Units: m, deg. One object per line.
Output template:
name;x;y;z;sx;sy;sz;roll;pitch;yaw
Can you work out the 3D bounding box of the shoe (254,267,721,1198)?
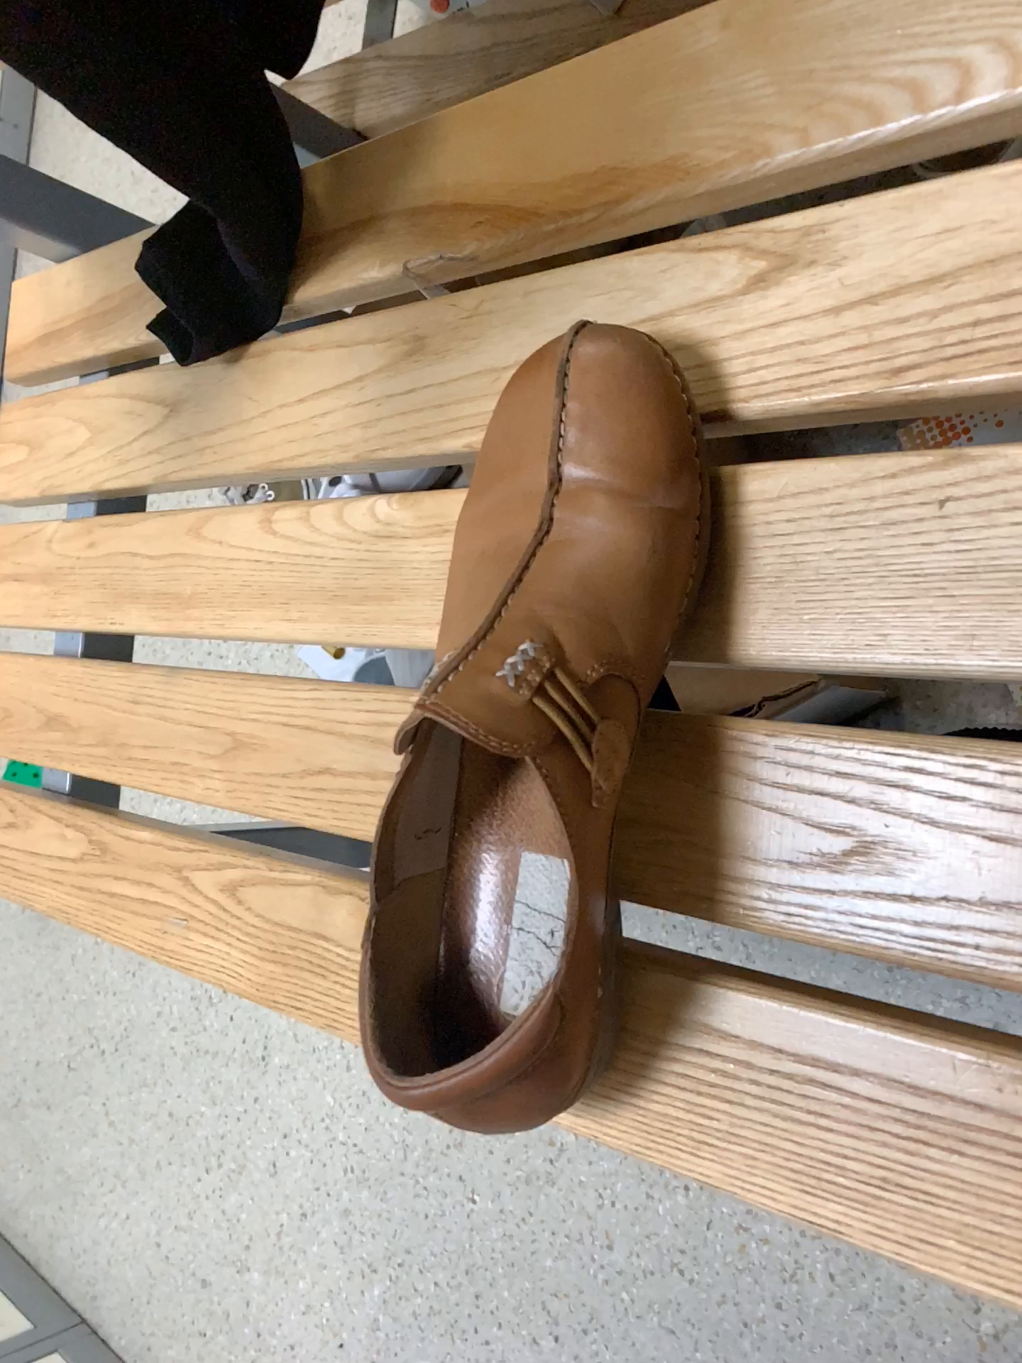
shoe;-0.007;0.013;0.343;0.112;0.085;0.245;0;86;40
